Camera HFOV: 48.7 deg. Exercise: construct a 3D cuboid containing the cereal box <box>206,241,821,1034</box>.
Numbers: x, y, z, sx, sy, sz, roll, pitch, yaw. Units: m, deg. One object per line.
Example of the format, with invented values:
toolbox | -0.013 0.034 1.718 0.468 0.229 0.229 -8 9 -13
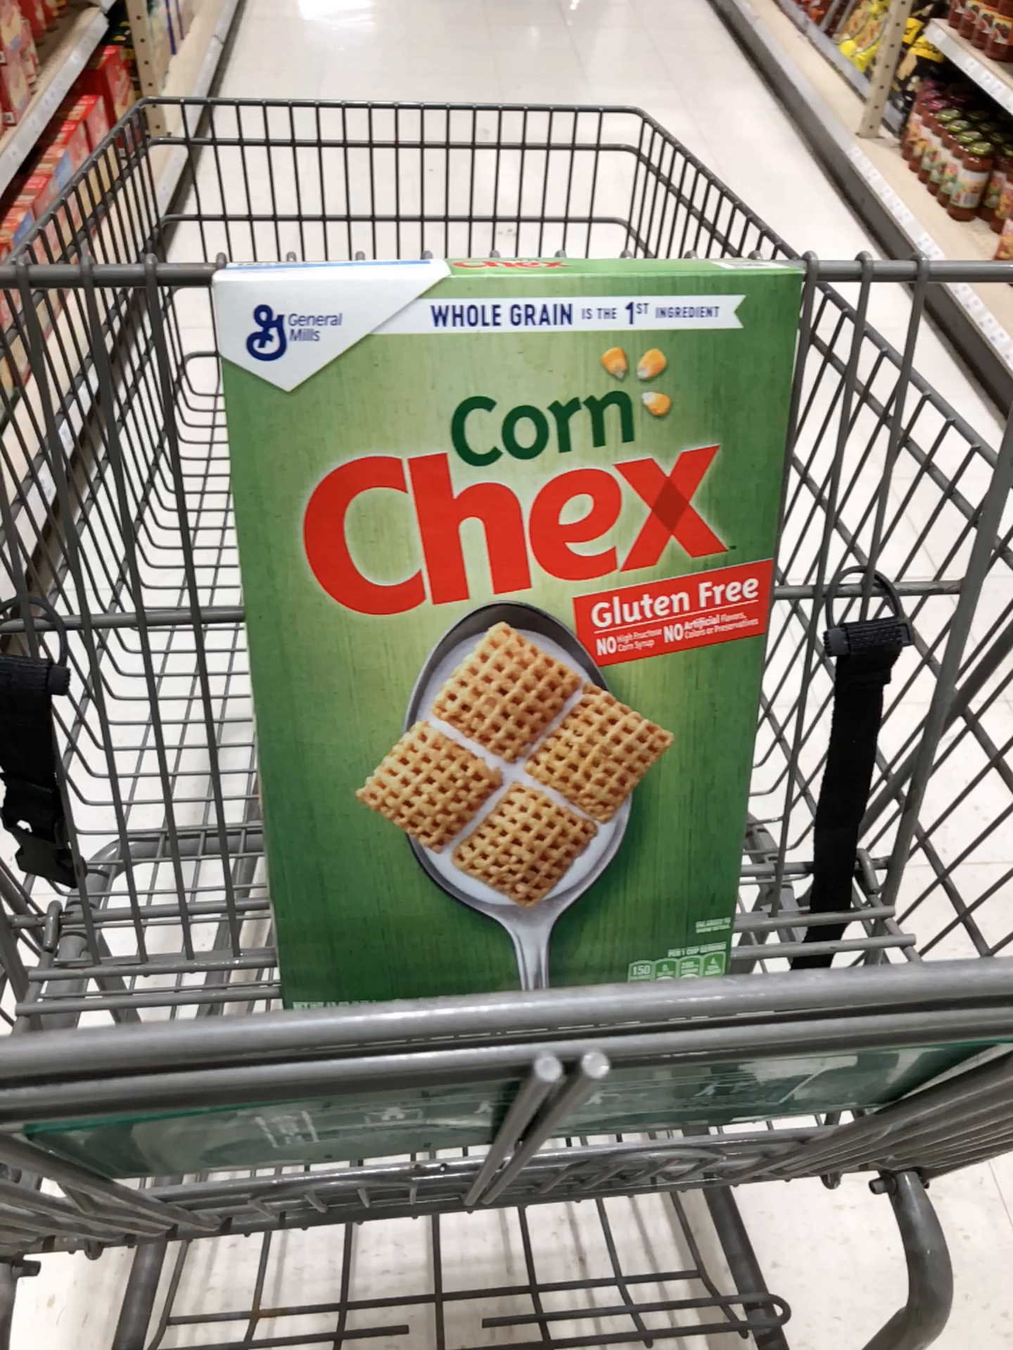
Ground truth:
cereal box | 0.002 -0.007 0.450 0.200 0.310 0.060 -3 23 -6
